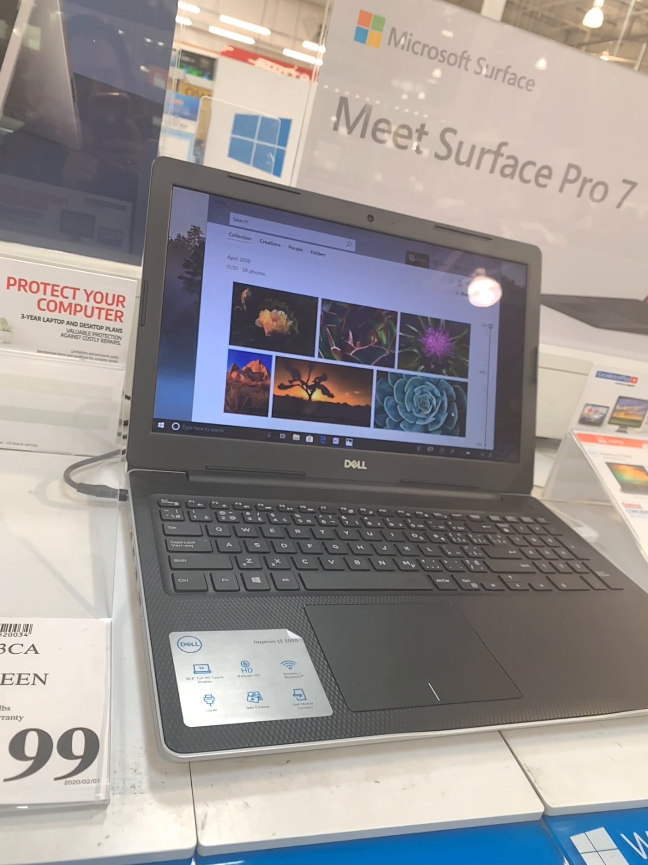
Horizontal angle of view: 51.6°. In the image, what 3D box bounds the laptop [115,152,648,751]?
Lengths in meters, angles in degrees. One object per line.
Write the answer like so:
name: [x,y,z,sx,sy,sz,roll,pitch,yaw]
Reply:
laptop: [0.070,-0.021,0.446,0.357,0.205,0.343,6,22,-24]
